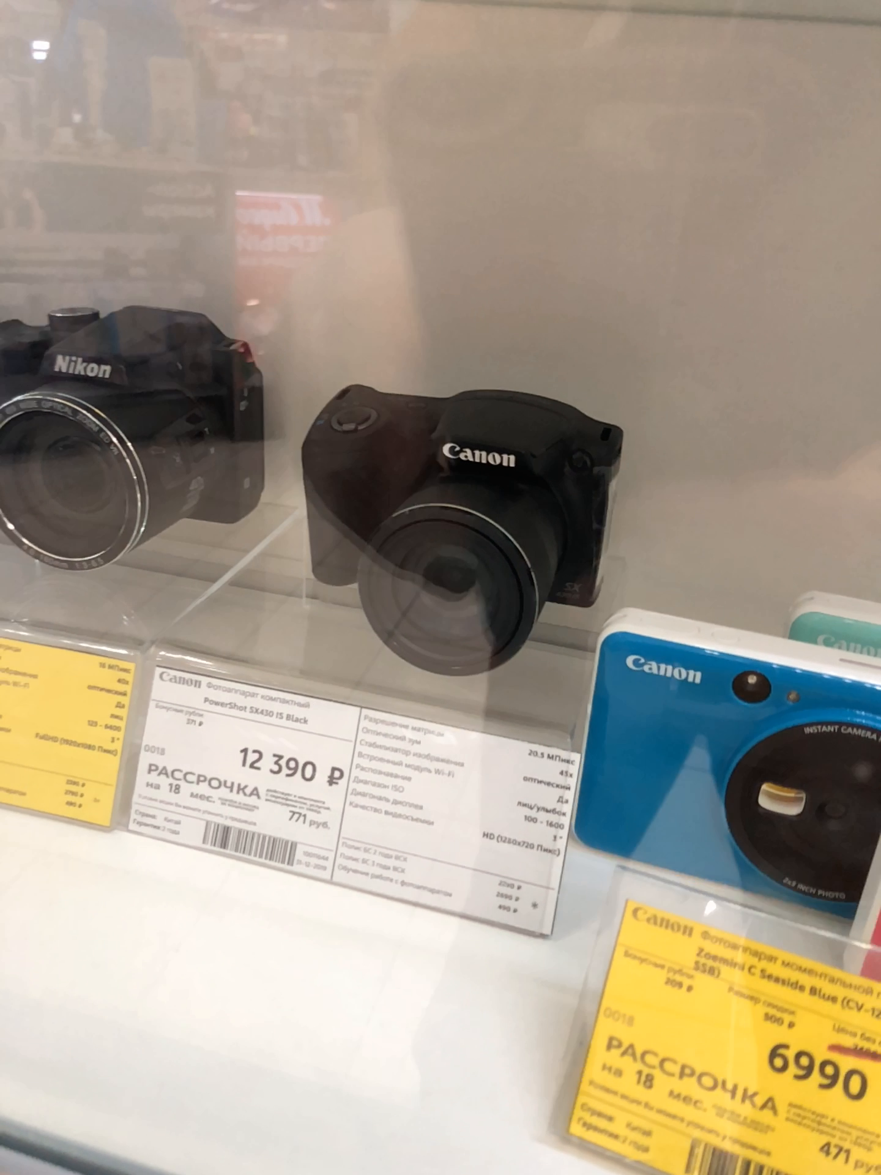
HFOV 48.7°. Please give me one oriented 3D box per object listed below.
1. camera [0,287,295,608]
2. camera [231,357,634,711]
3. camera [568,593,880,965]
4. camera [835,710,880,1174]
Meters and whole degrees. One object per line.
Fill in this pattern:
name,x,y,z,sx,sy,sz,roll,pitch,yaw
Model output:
camera,-0.116,-0.054,0.335,0.100,0.073,0.093,11,26,14
camera,0.001,-0.024,0.313,0.100,0.070,0.093,11,26,14
camera,0.101,0.052,0.276,0.118,0.073,0.028,12,26,17
camera,0.160,0.079,0.220,0.118,0.073,0.028,12,26,17
